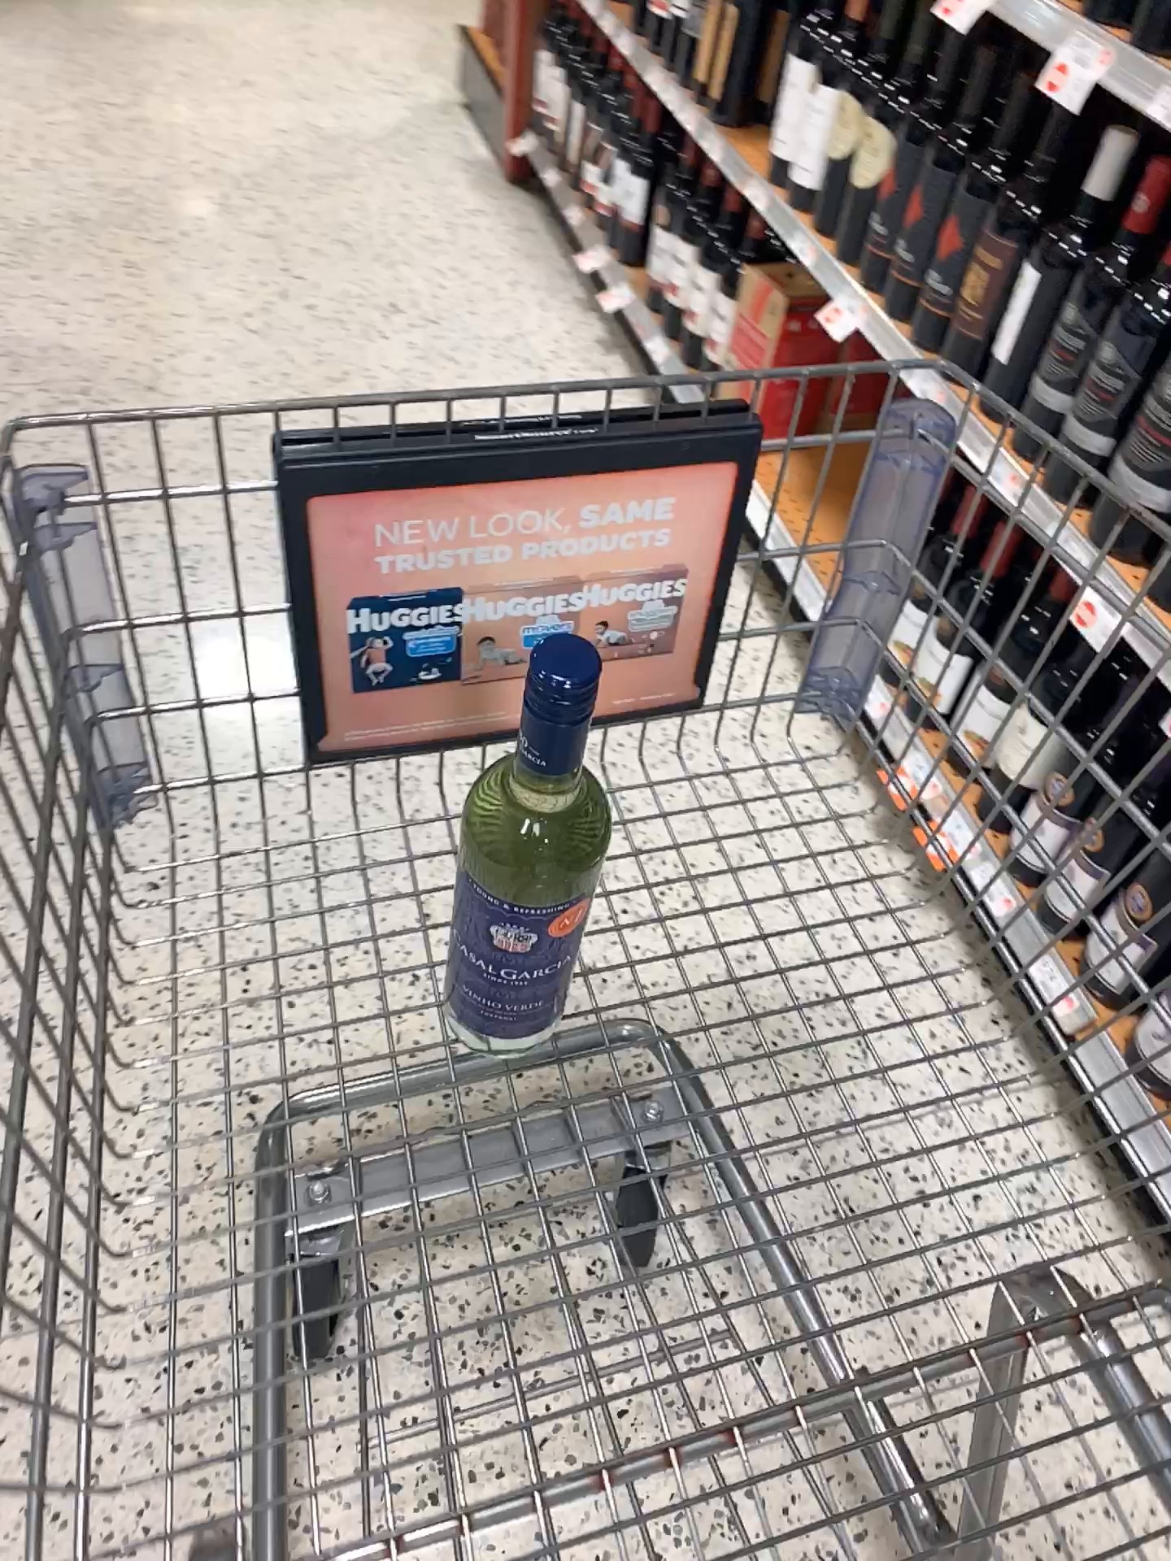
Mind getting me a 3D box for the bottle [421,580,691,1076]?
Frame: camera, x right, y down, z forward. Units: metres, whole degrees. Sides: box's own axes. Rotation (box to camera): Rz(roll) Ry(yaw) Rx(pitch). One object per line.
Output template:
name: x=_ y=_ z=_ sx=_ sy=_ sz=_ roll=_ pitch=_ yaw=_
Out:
bottle: x=-0.023 y=0.040 z=0.612 sx=0.090 sy=0.277 sz=0.081 roll=8 pitch=46 yaw=-6
